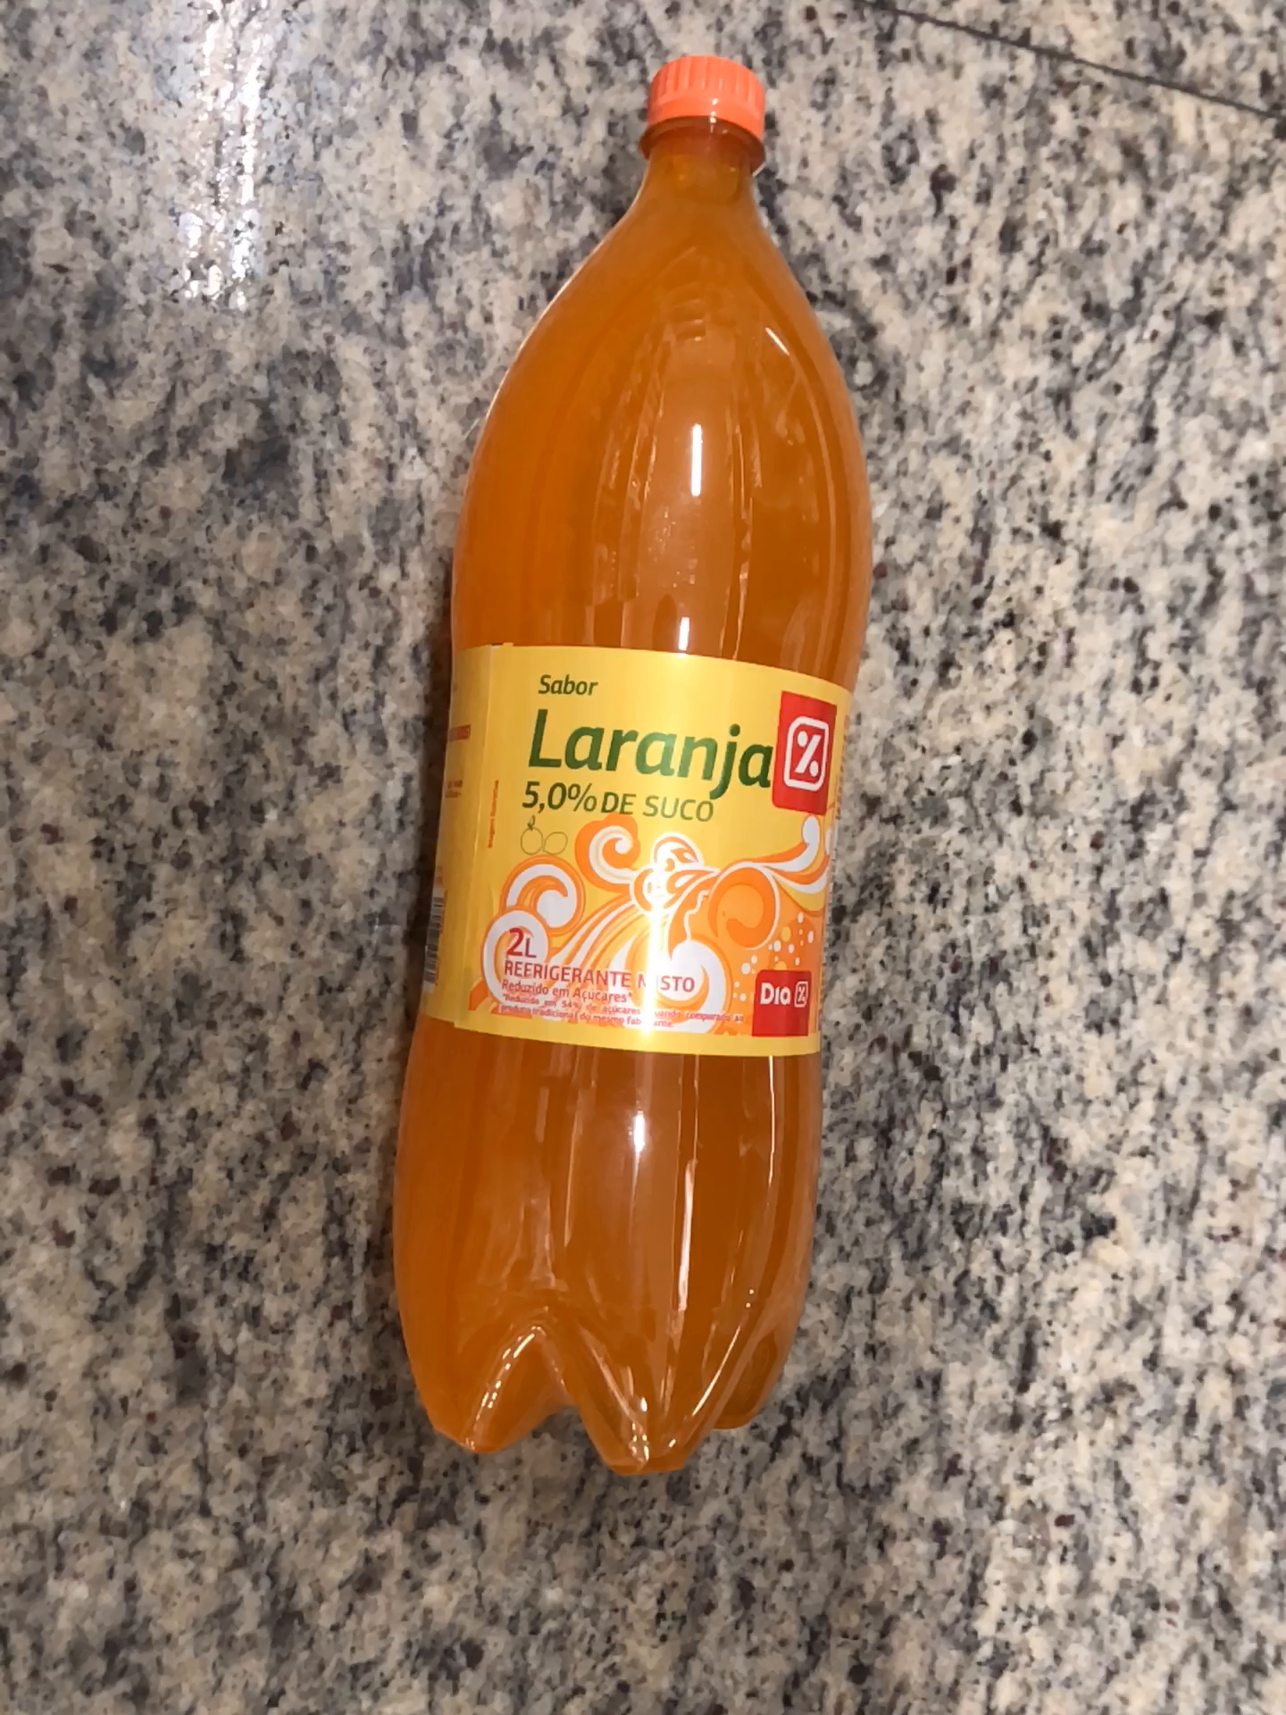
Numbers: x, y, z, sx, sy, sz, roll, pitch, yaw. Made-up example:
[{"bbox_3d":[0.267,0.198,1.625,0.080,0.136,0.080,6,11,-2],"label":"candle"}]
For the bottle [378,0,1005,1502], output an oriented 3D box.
[{"bbox_3d":[0.011,-0.035,0.356,0.120,0.070,0.350,4,87,-17],"label":"bottle"}]
